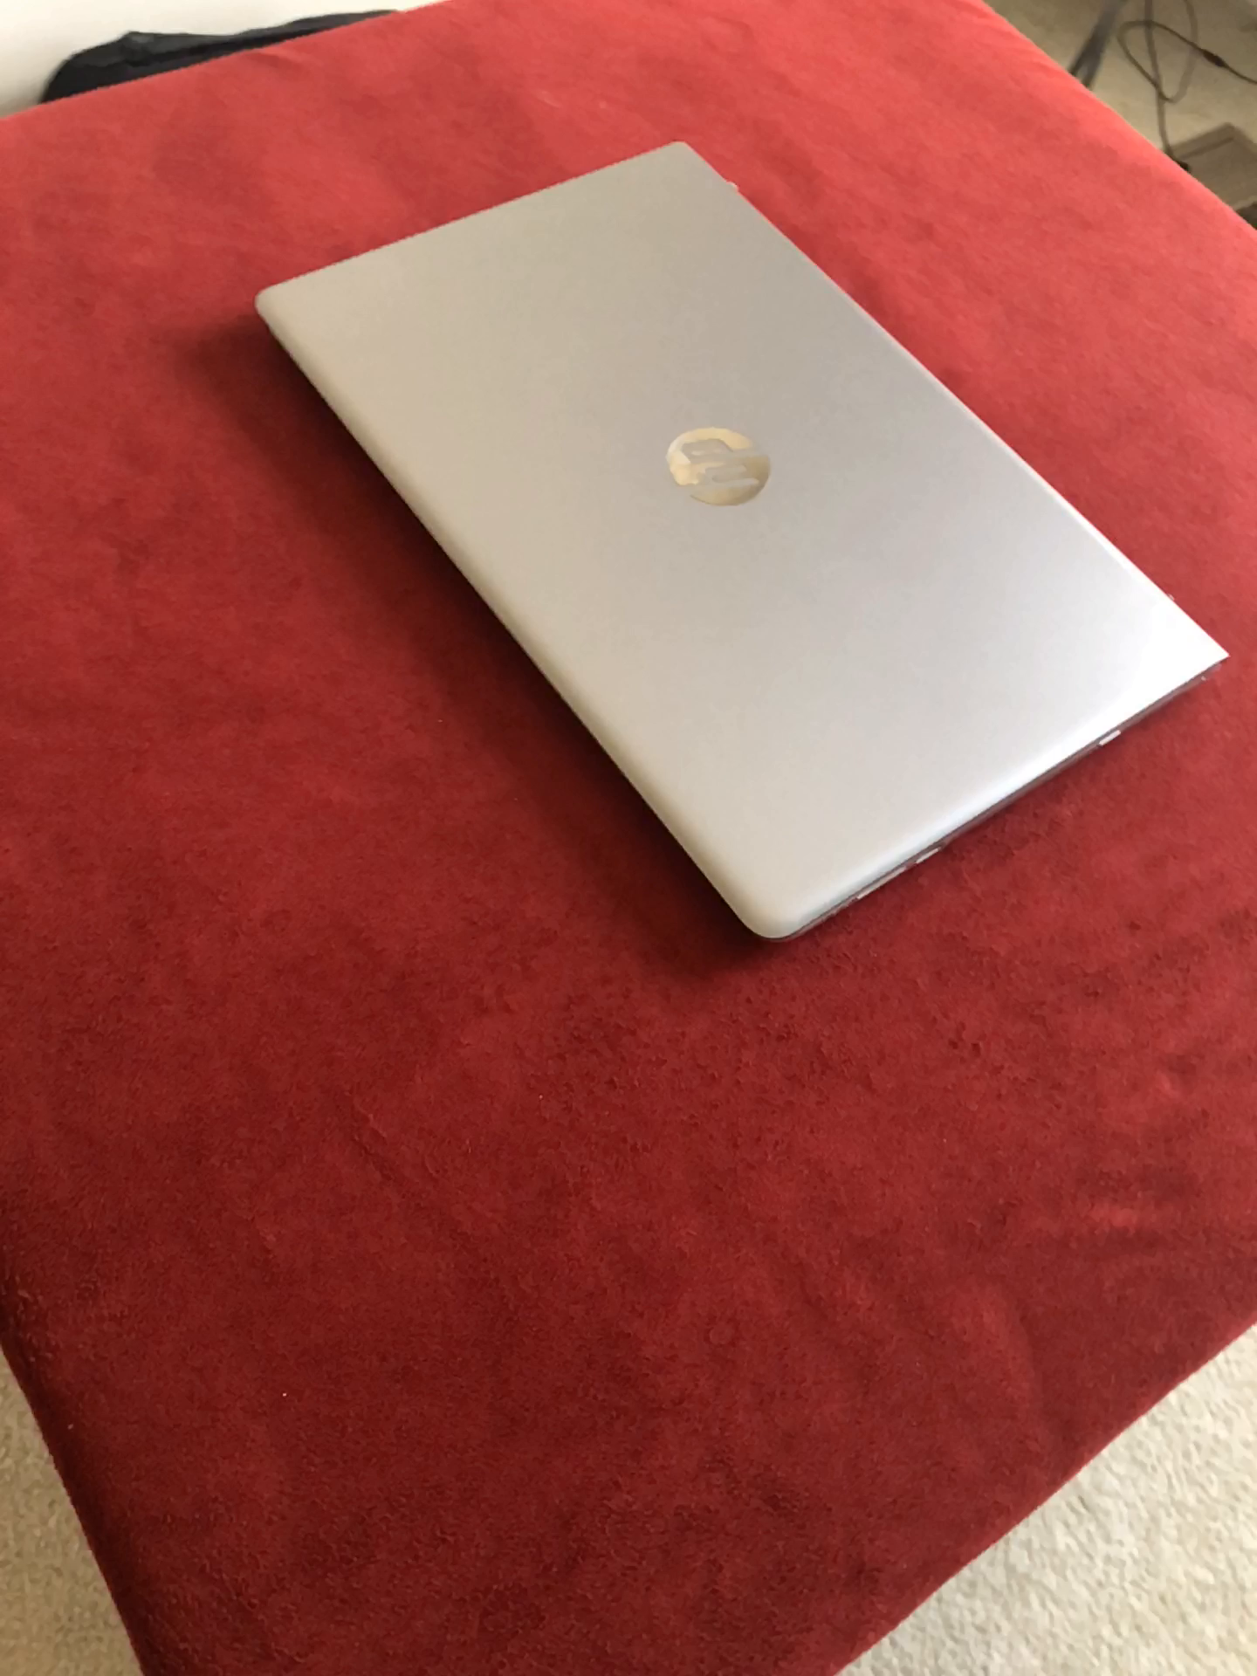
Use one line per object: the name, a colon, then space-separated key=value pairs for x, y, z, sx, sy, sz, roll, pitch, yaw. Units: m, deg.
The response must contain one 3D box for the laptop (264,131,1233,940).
laptop: x=0.042 y=-0.158 z=0.591 sx=0.234 sy=0.006 sz=0.372 roll=-30 pitch=68 yaw=-20
